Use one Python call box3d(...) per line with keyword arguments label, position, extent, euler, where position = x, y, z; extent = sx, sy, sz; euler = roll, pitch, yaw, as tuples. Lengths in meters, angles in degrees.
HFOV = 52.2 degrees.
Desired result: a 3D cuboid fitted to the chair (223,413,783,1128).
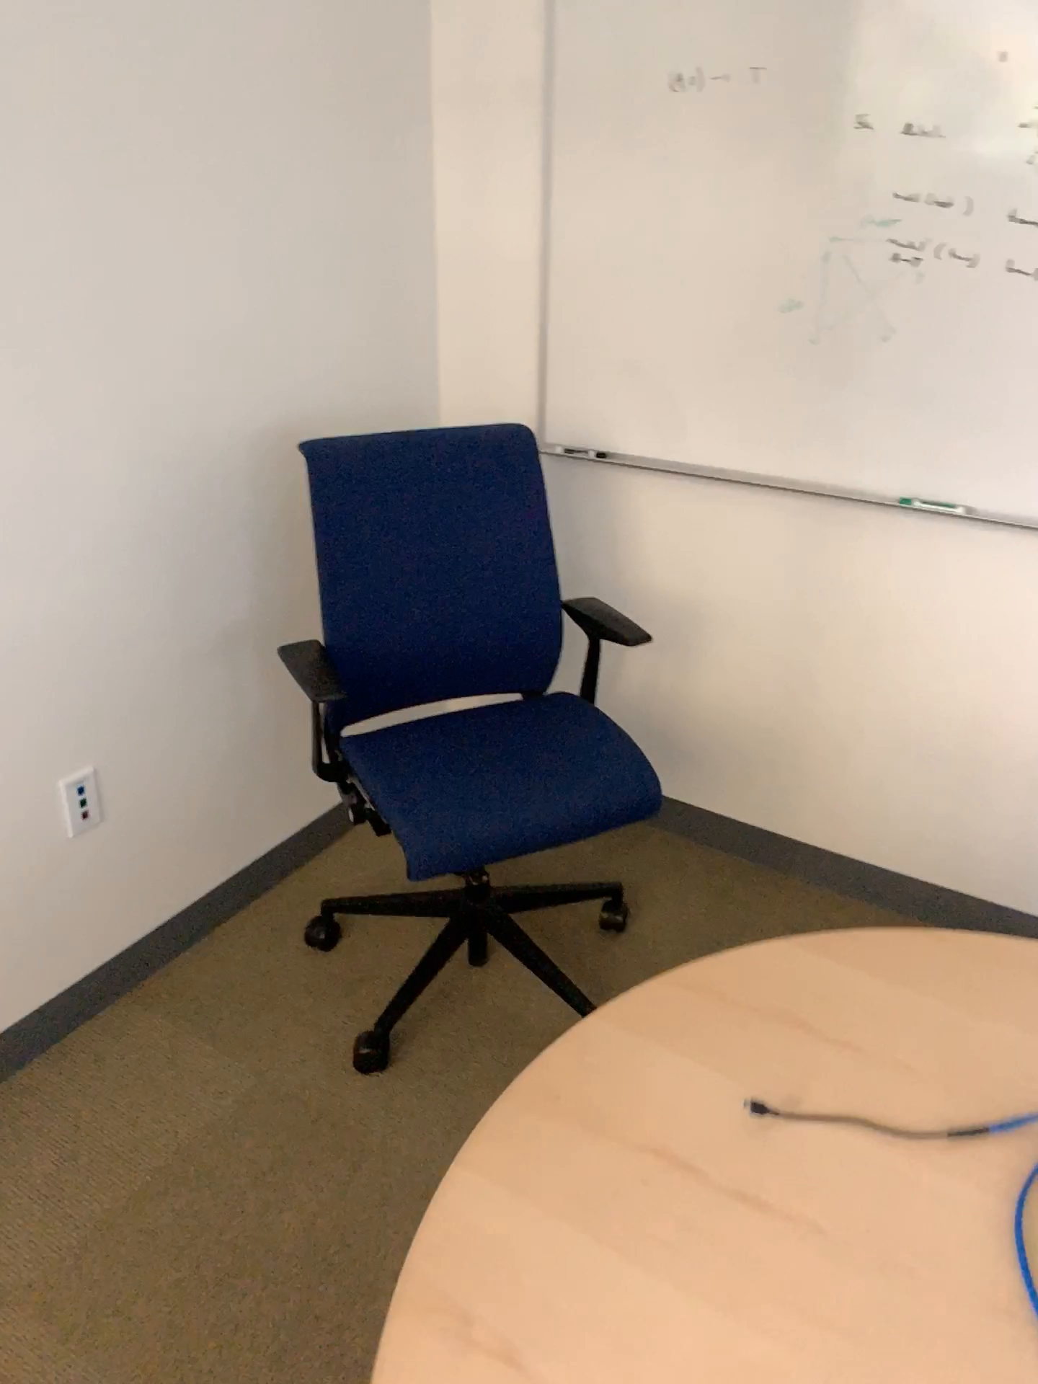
box3d(label="chair", position=(-0.109, 0.052, 2.167), extent=(0.740, 0.994, 0.985), euler=(-9, 27, -19))
